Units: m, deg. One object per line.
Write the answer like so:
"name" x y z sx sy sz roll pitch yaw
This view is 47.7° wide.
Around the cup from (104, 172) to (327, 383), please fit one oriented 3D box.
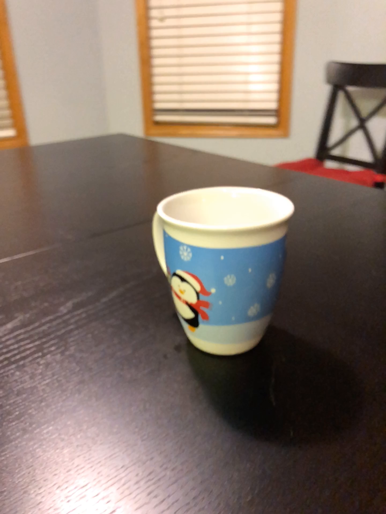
"cup" 0.011 0.002 0.344 0.100 0.100 0.140 -17 28 -32
